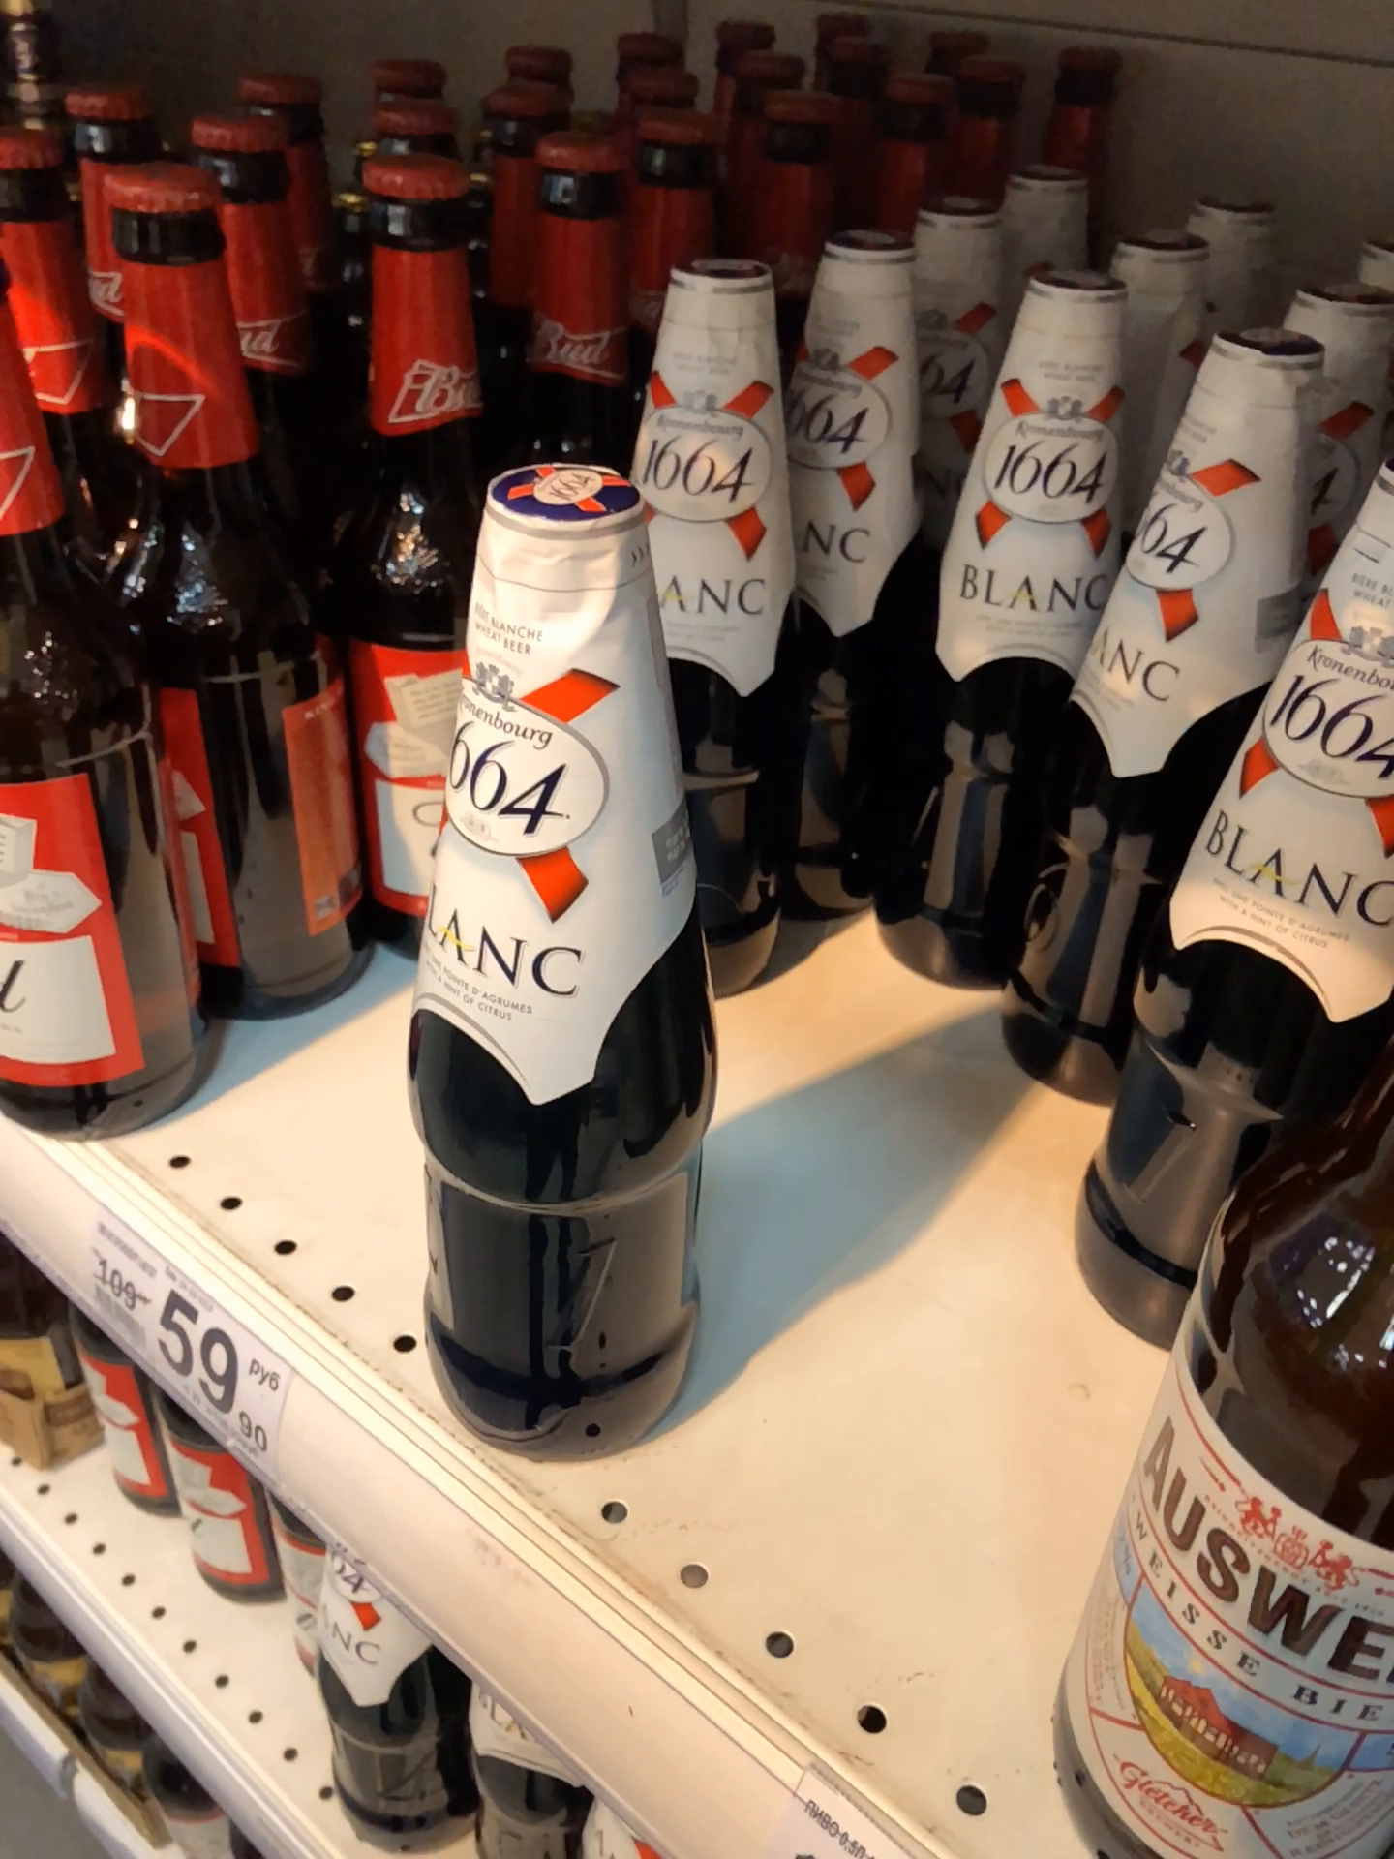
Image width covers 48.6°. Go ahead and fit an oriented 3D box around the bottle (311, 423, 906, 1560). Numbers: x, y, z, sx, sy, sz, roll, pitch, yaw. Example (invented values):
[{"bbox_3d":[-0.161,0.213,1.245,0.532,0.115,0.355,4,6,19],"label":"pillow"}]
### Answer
[{"bbox_3d":[-0.020,0.022,0.341,0.080,0.234,0.070,31,44,34],"label":"bottle"}]
